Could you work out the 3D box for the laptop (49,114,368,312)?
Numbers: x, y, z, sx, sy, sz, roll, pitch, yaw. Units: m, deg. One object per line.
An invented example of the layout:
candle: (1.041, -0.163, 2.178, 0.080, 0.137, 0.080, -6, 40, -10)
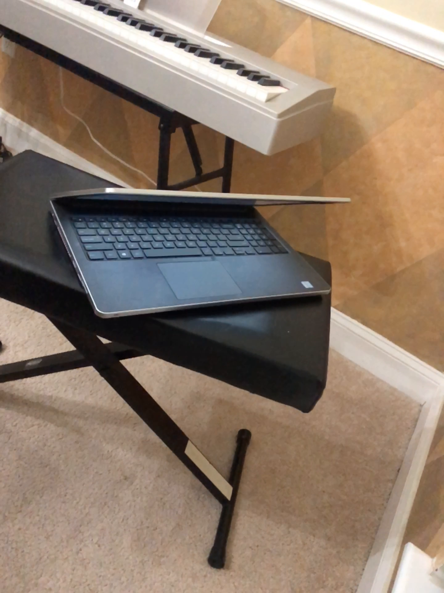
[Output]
laptop: (-0.026, -0.130, 0.725, 0.376, 0.132, 0.257, -6, 44, -32)
